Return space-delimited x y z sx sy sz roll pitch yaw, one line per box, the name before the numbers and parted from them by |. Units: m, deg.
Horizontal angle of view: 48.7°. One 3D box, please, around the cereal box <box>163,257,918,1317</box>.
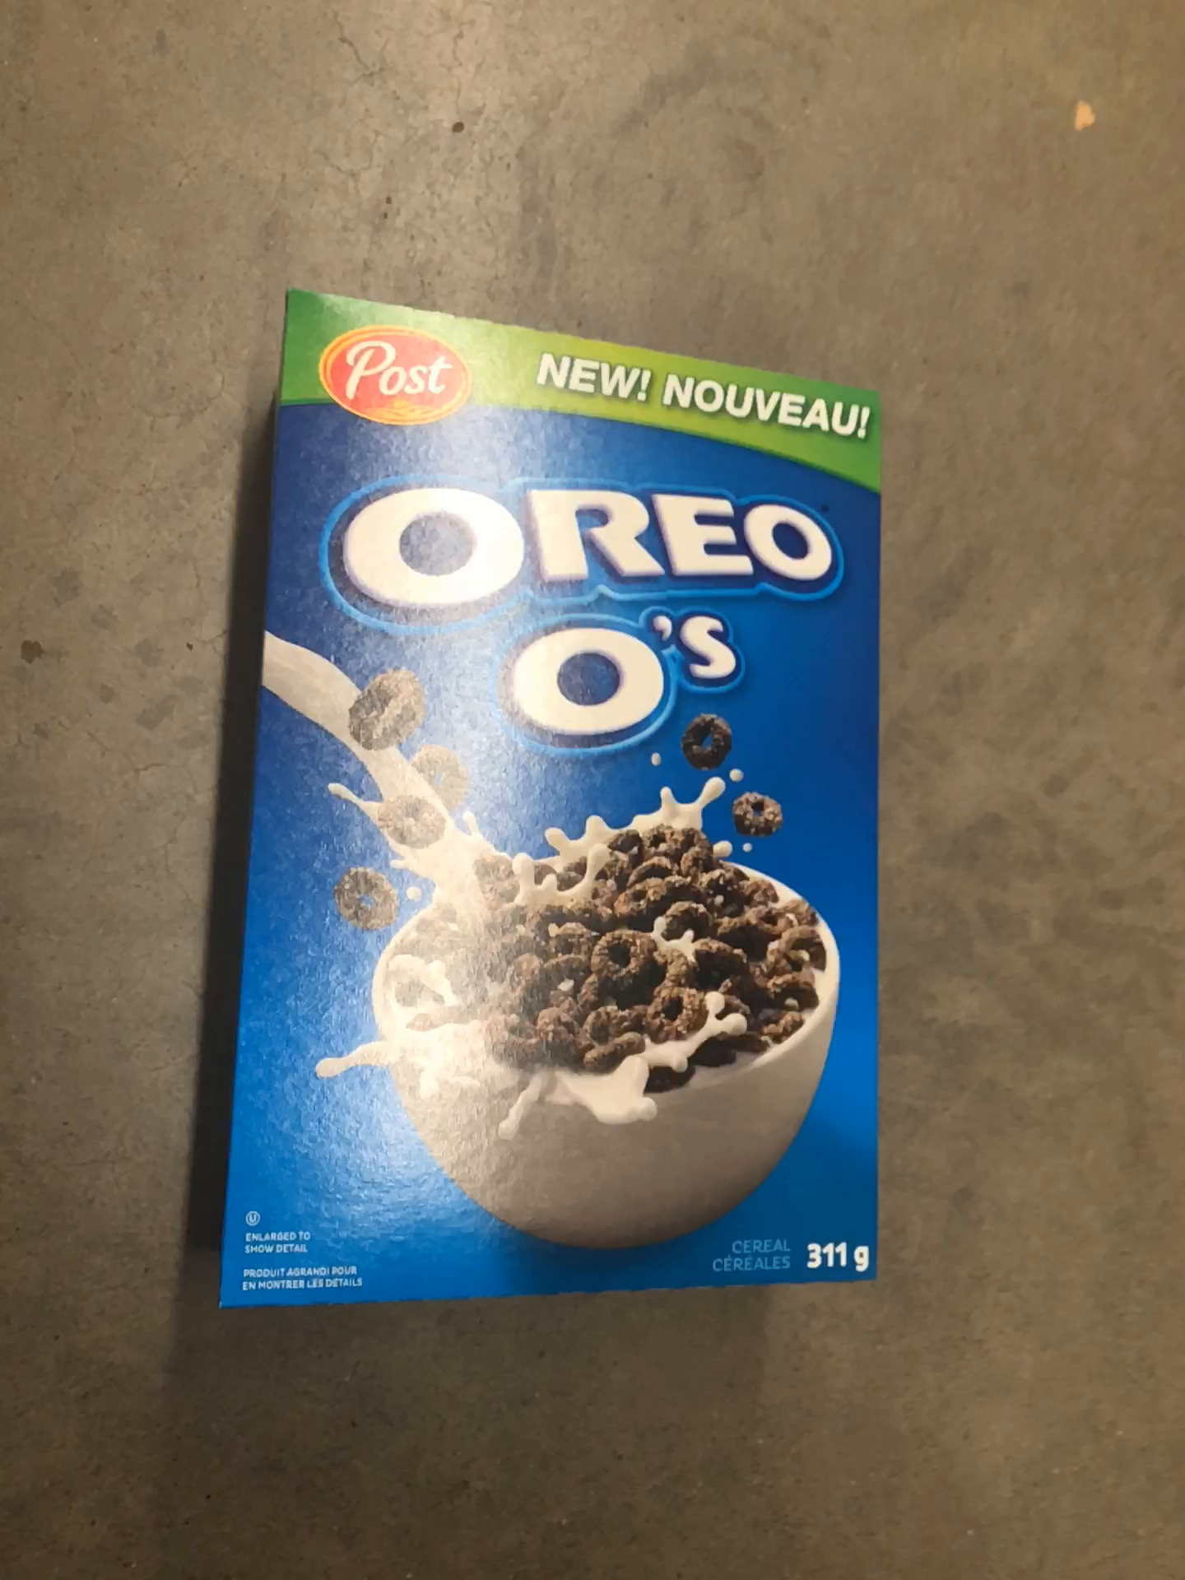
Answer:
cereal box | -0.012 0.002 0.405 0.210 0.070 0.280 3 82 -16
